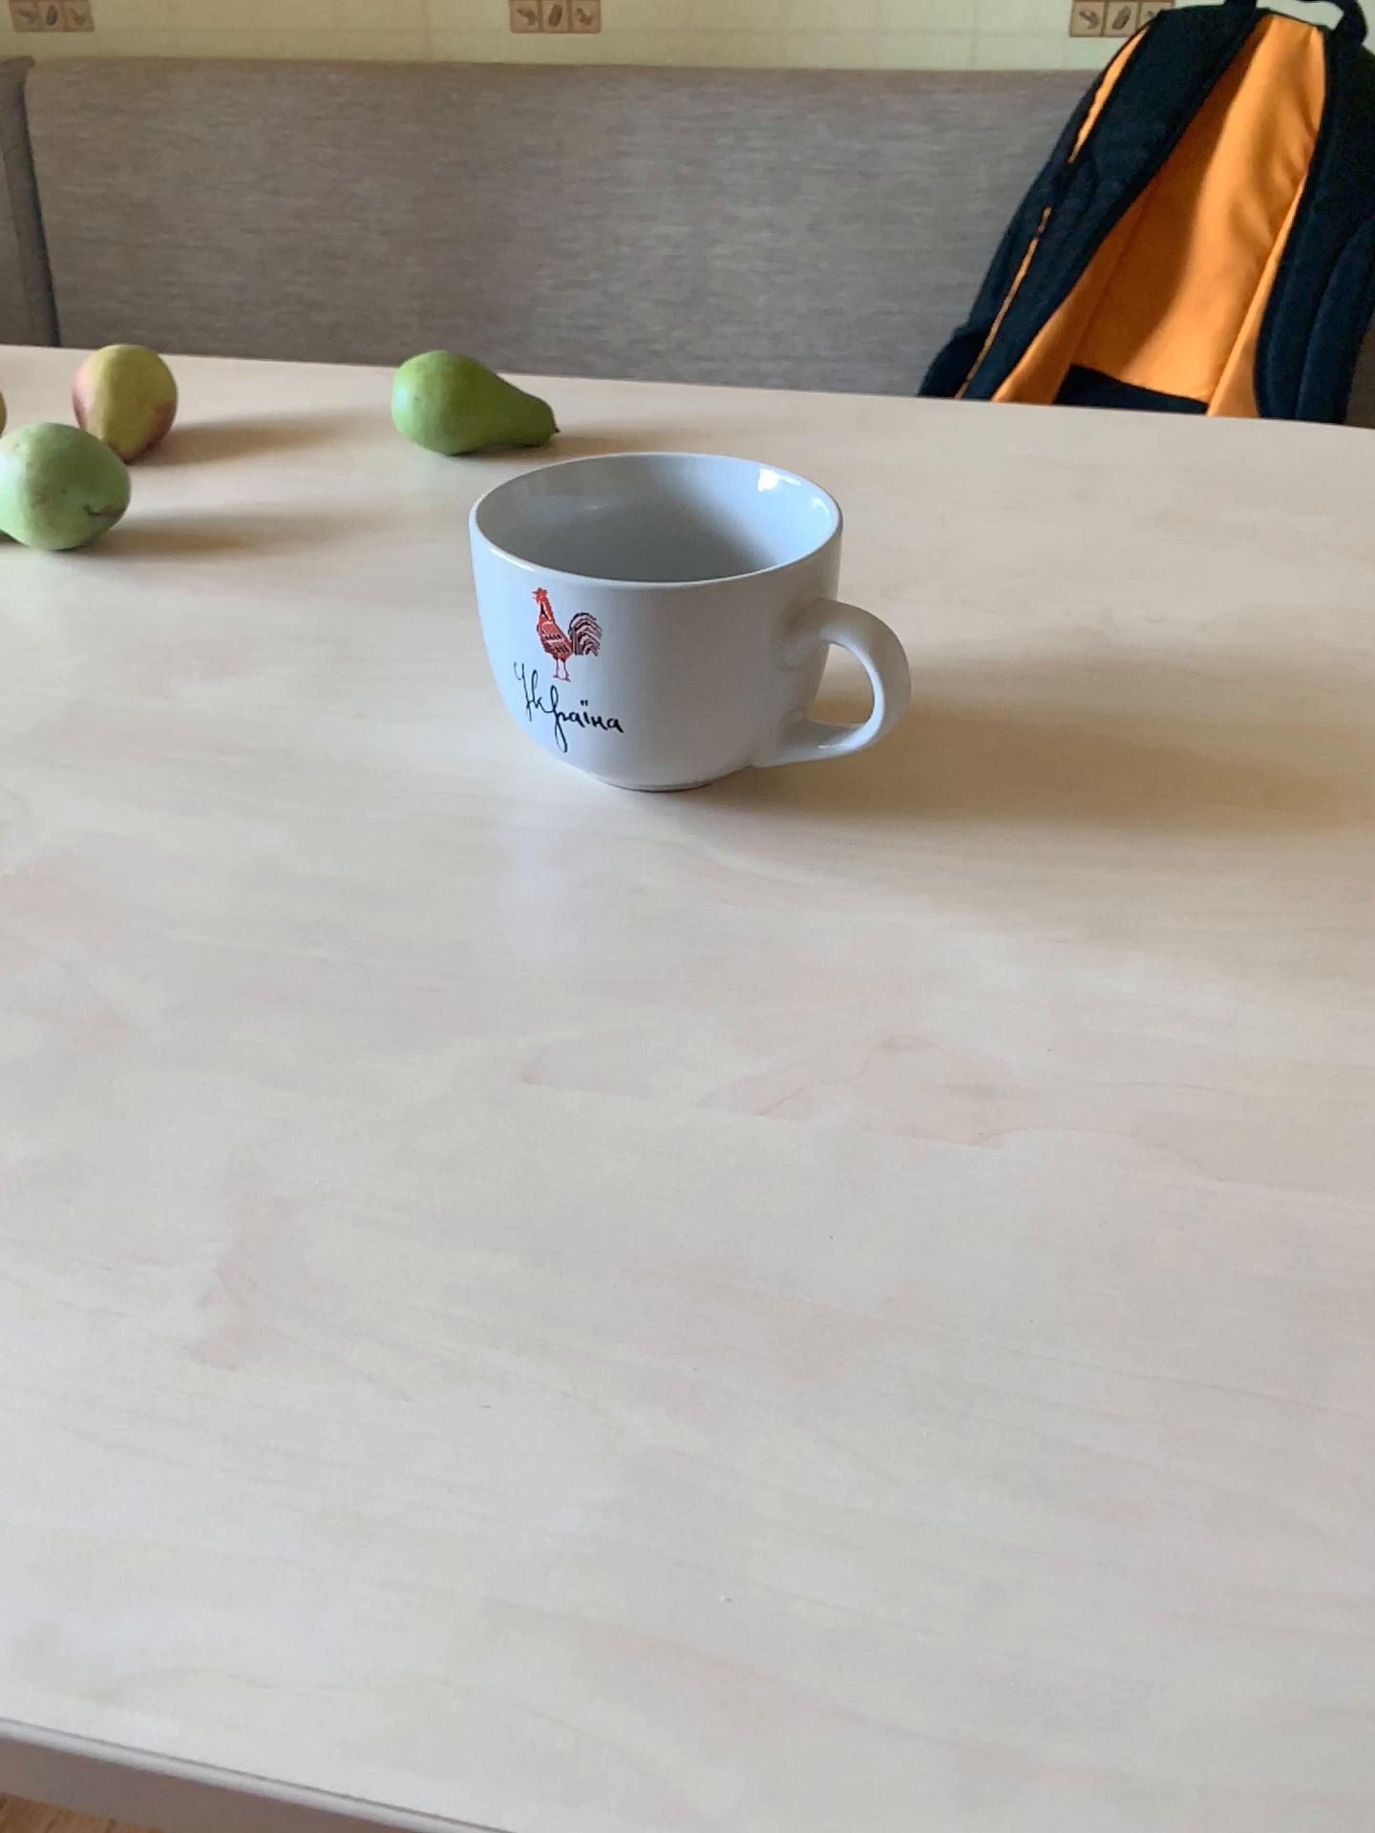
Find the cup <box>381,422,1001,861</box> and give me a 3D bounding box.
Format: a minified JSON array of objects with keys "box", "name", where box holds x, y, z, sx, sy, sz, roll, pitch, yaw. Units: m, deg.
[{"box":[0.002,-0.083,0.392,0.130,0.060,0.100,22,41,29],"name":"cup"}]
